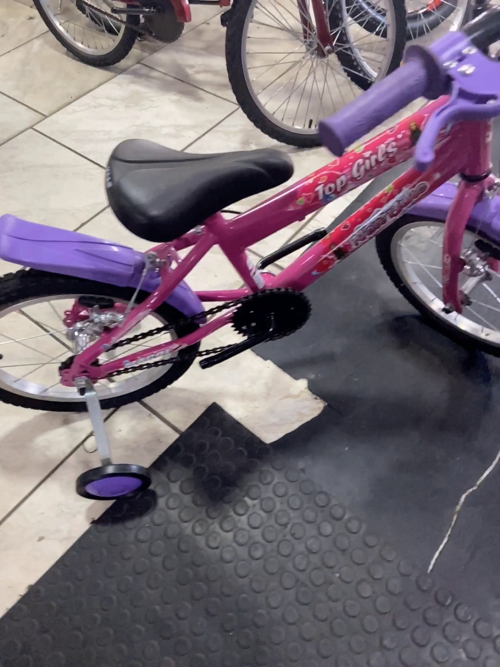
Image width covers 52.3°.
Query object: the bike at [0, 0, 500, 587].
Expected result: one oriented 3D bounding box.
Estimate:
[{"bbox_3d":[0.058,-0.046,0.645,0.921,0.703,0.548,-2,55,-1],"label":"bike"}]
